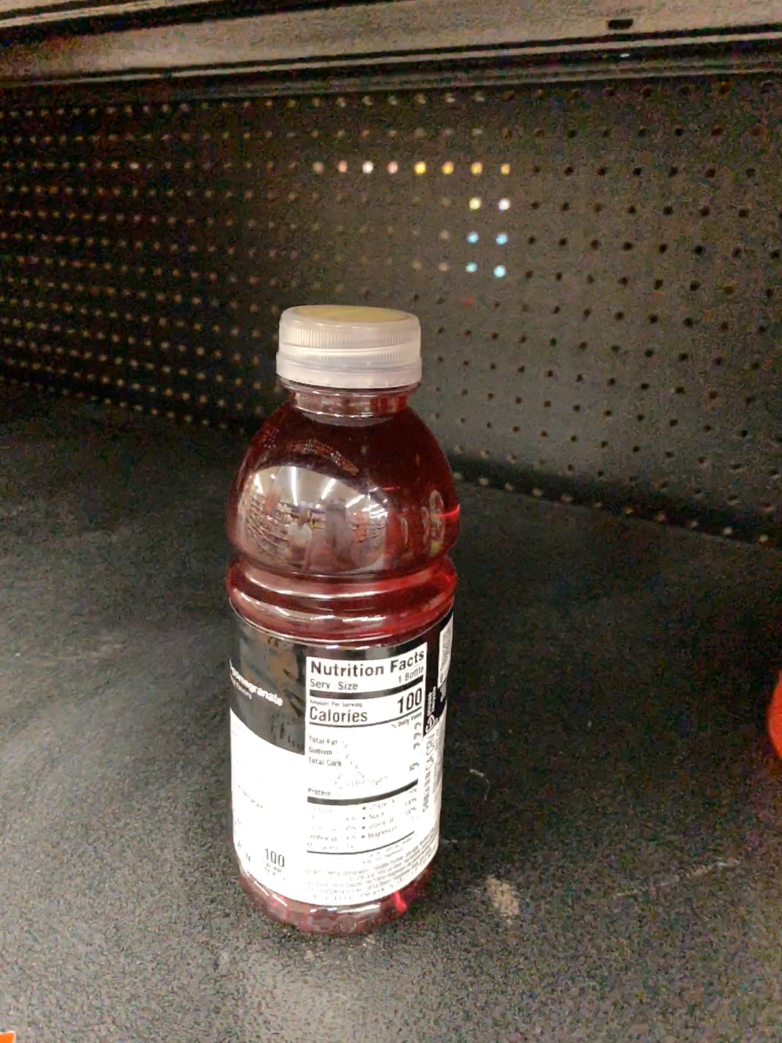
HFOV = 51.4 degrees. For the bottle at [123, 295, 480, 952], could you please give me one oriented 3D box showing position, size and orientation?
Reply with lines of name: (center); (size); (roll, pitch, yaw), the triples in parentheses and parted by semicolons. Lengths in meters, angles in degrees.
bottle: (-0.019, 0.029, 0.251); (0.080, 0.179, 0.080); (1, 22, 0)
